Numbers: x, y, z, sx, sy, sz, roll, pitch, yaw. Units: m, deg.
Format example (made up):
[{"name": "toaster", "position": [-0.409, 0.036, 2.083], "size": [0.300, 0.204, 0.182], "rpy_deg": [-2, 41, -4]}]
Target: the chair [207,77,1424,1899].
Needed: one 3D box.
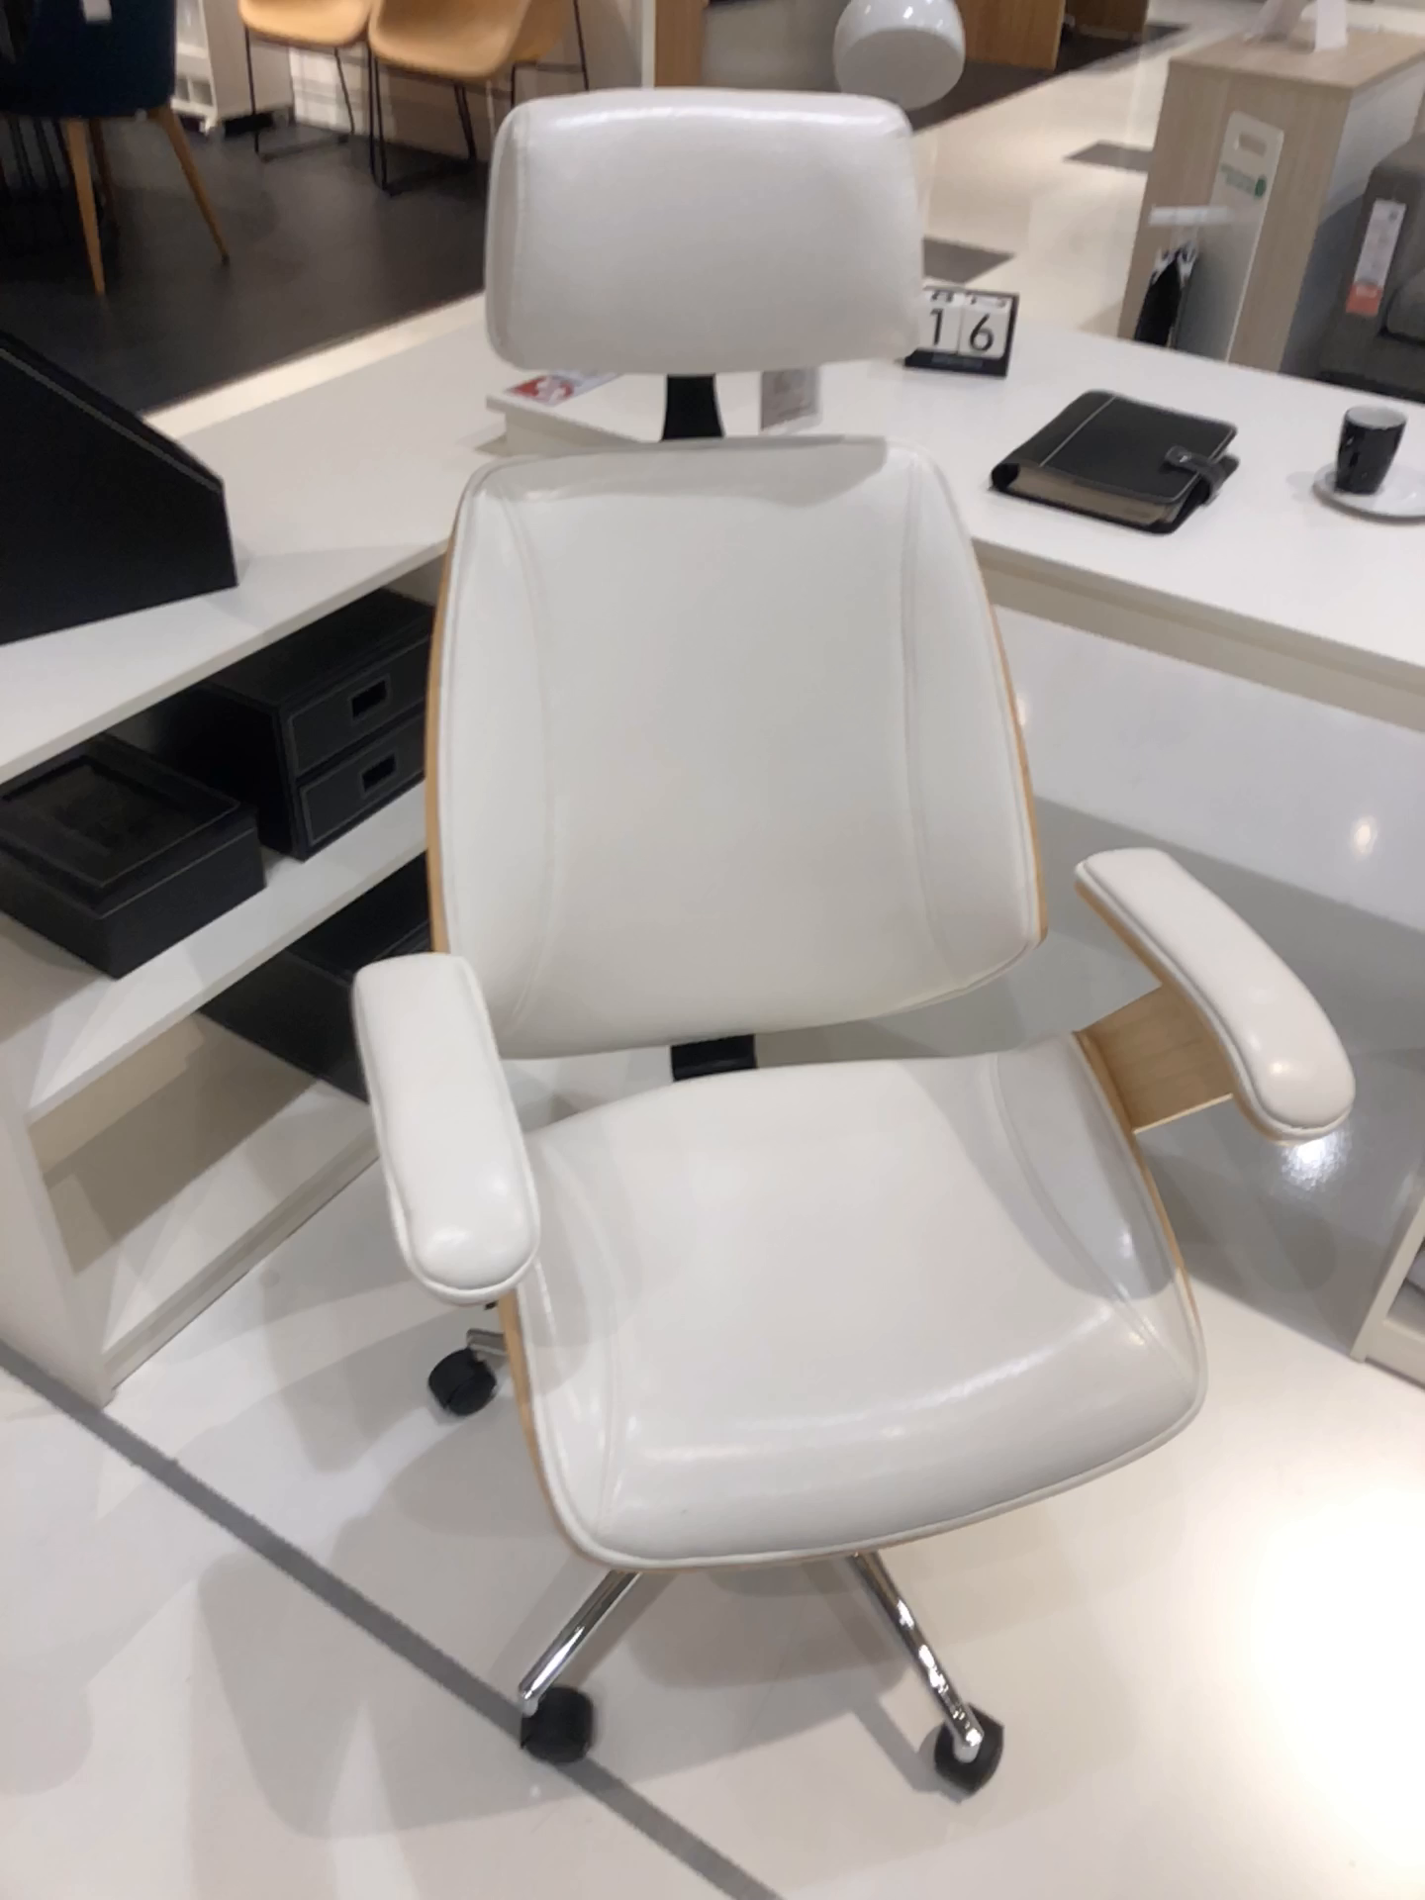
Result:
[{"name": "chair", "position": [0.069, 0.047, 1.159], "size": [0.671, 1.102, 0.705], "rpy_deg": [-7, 40, -12]}]
